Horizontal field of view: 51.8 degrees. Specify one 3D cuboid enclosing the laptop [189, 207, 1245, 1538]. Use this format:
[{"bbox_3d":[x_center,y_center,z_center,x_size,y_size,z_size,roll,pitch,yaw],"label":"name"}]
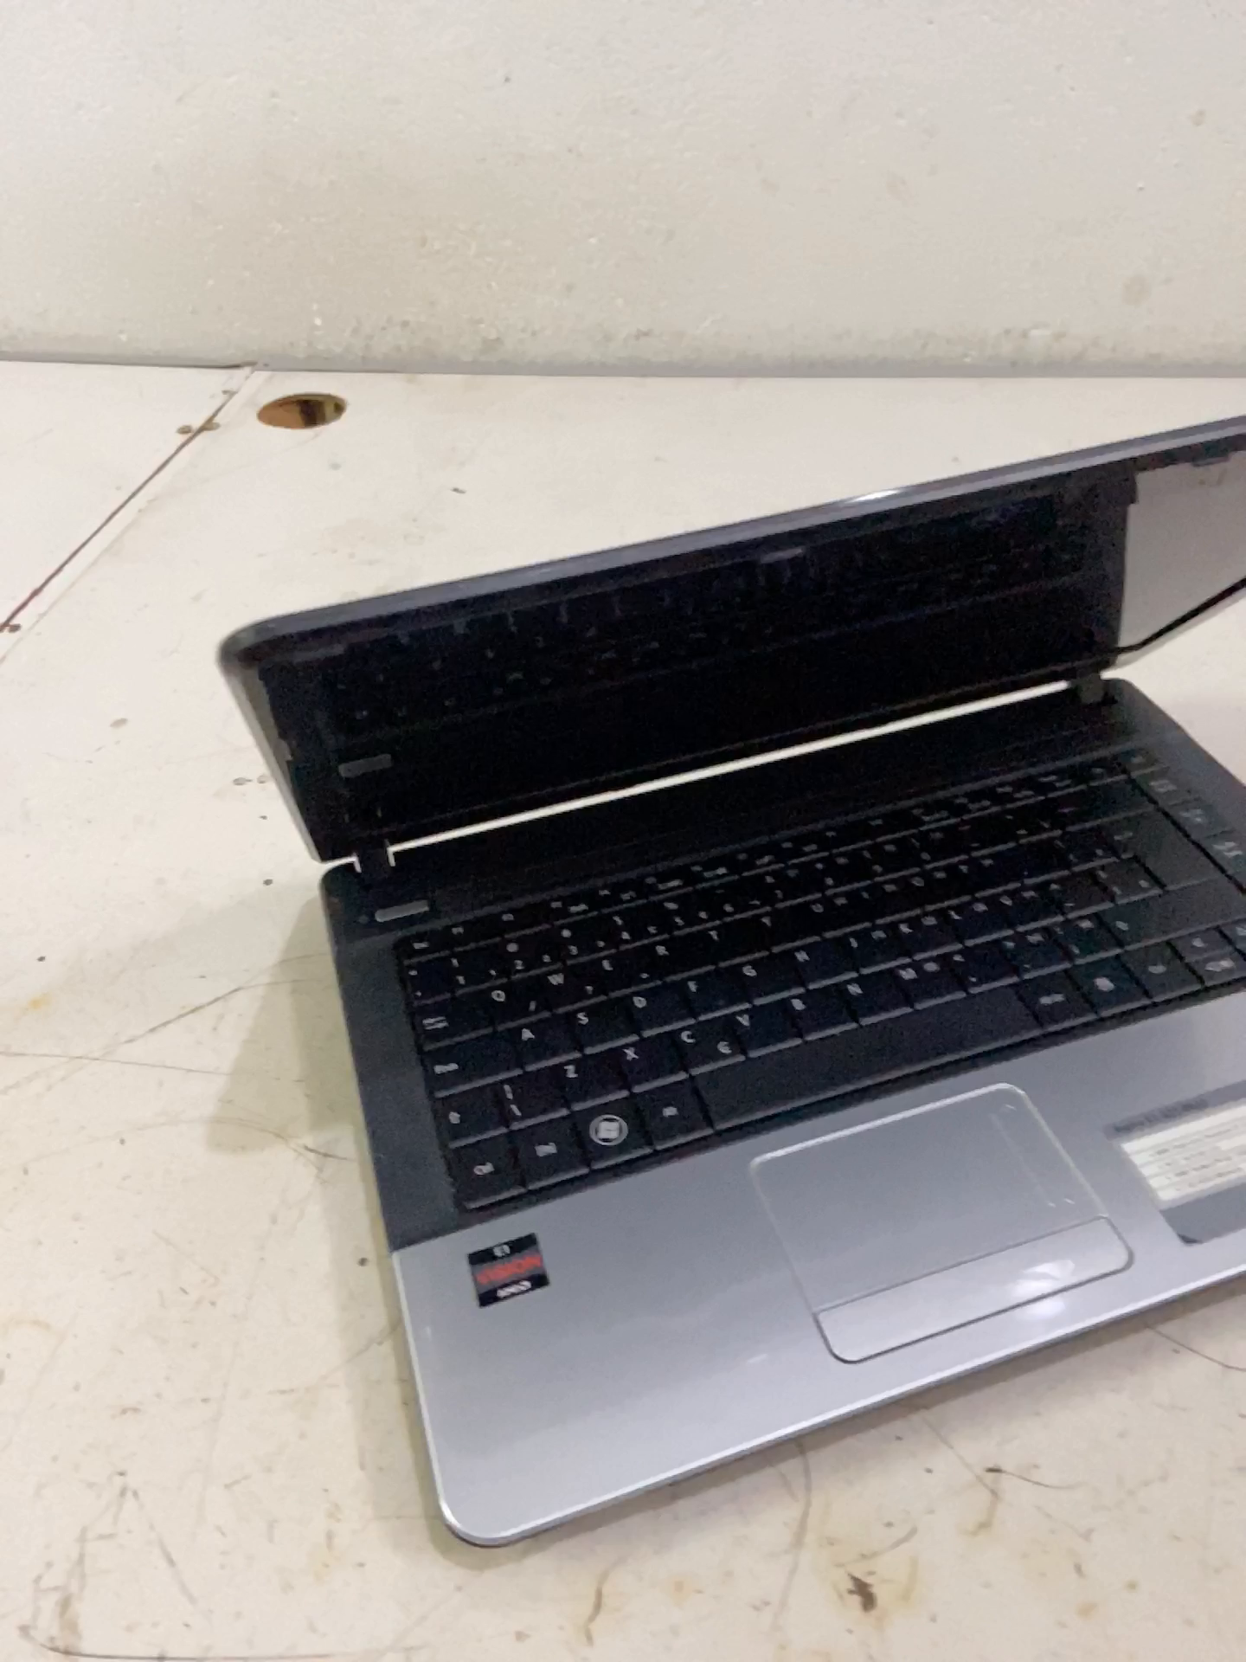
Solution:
[{"bbox_3d":[0.081,-0.021,0.355,0.334,0.184,0.239,-14,42,-12],"label":"laptop"}]
